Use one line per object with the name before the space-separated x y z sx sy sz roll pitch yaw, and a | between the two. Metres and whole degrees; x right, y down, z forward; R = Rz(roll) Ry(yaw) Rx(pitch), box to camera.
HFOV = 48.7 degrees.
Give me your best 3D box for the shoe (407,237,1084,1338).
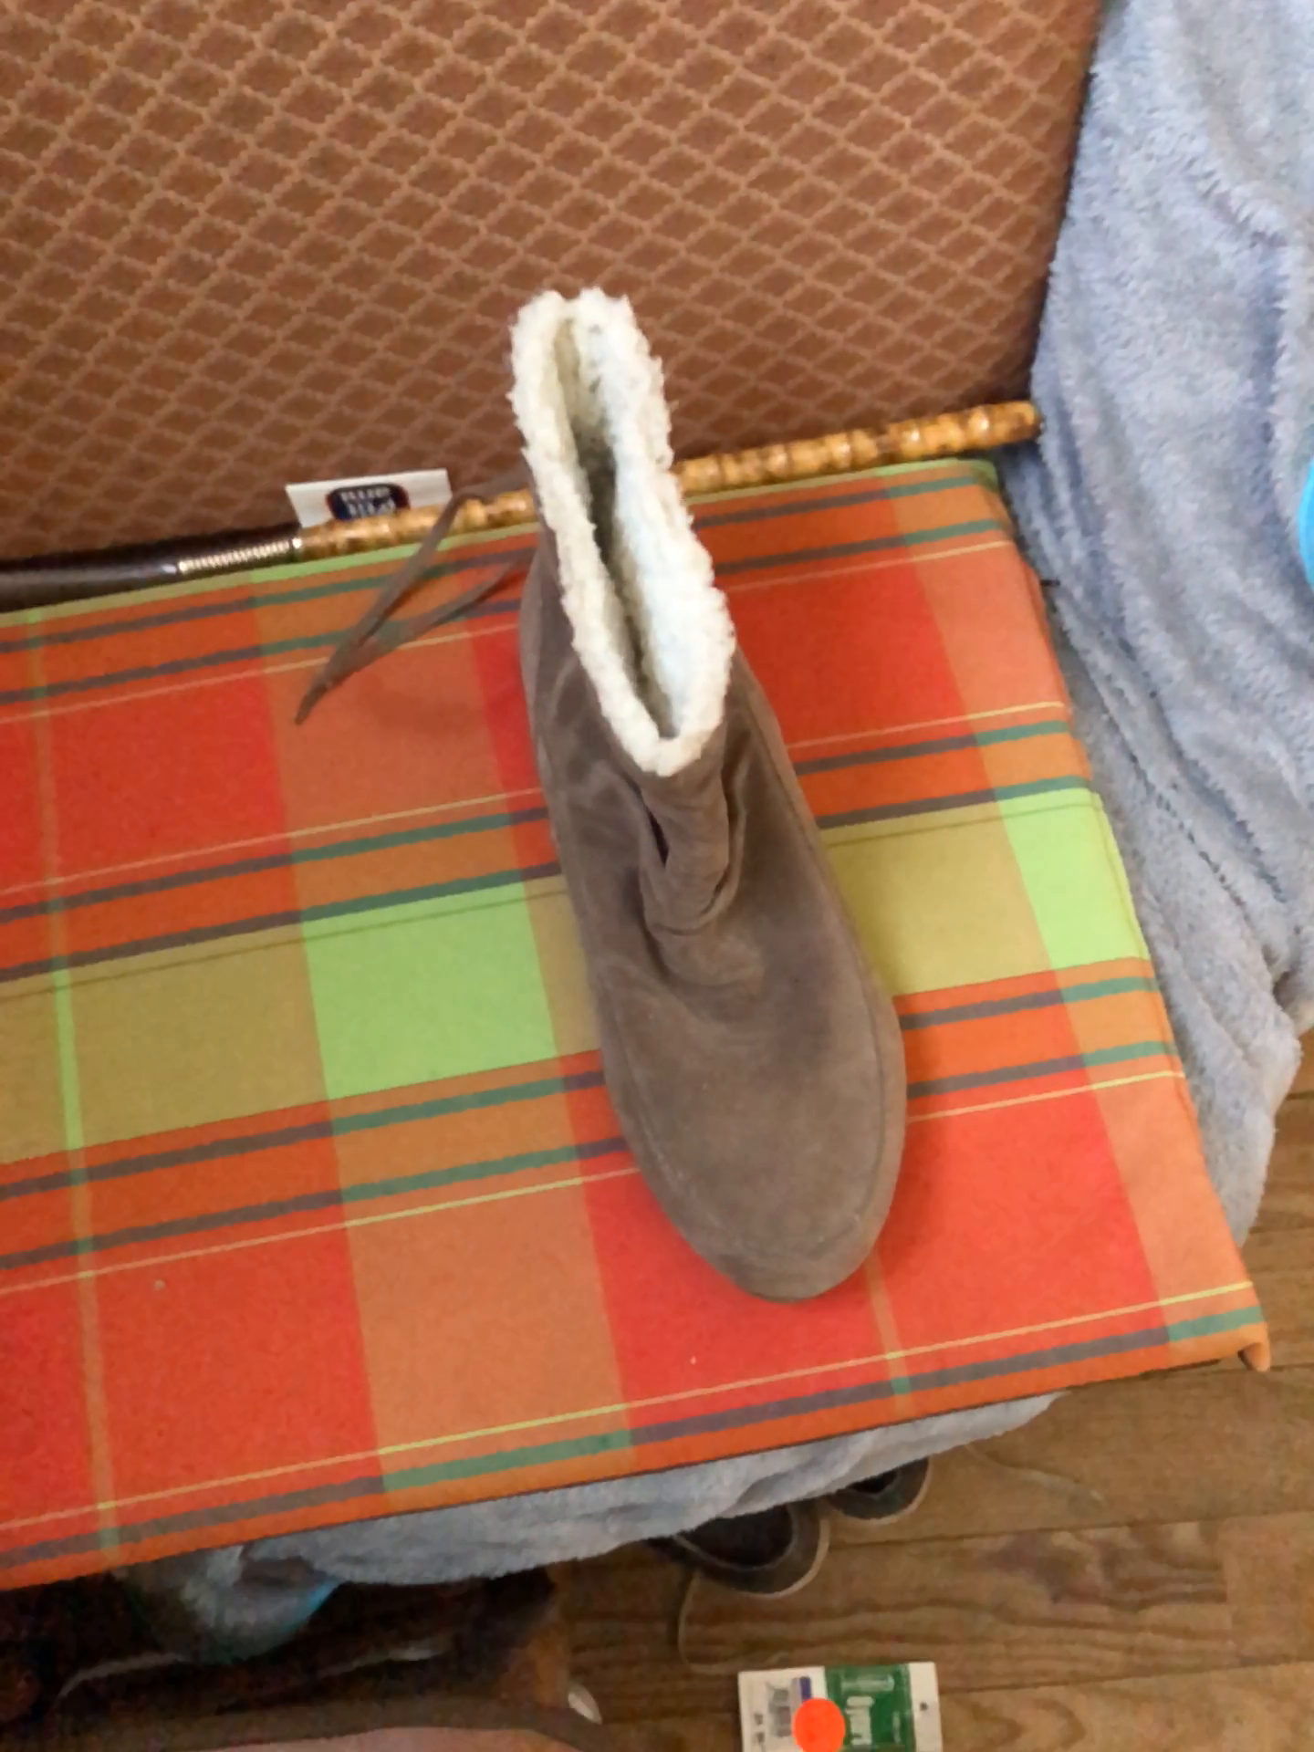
shoe | 0.017 -0.013 0.419 0.100 0.160 0.260 -13 73 -1
